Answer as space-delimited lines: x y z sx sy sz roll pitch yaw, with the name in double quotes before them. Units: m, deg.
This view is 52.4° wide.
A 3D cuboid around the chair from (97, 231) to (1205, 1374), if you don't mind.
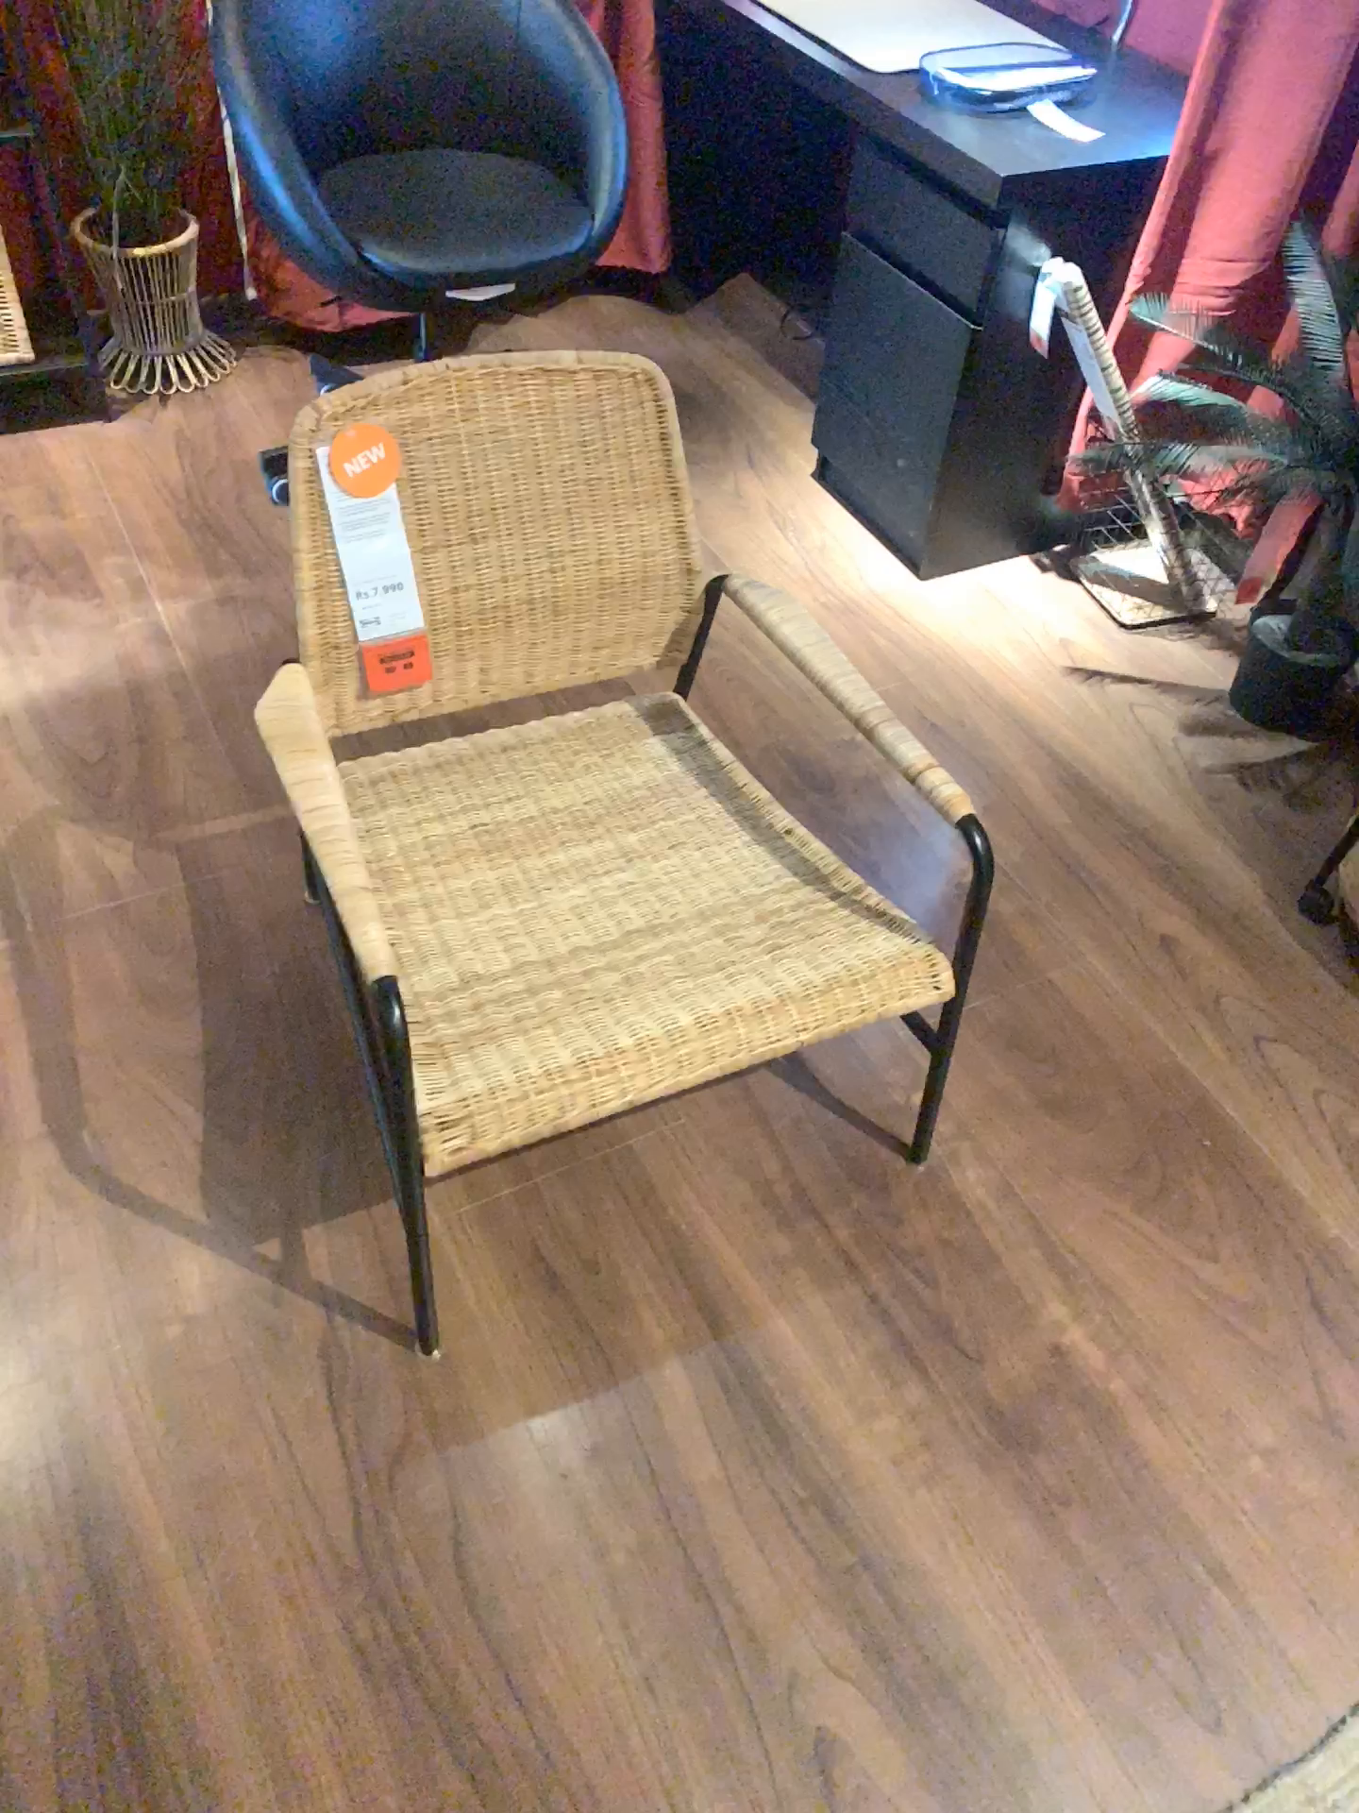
"chair" -0.101 -0.149 1.489 0.710 0.757 0.793 -16 51 -21
